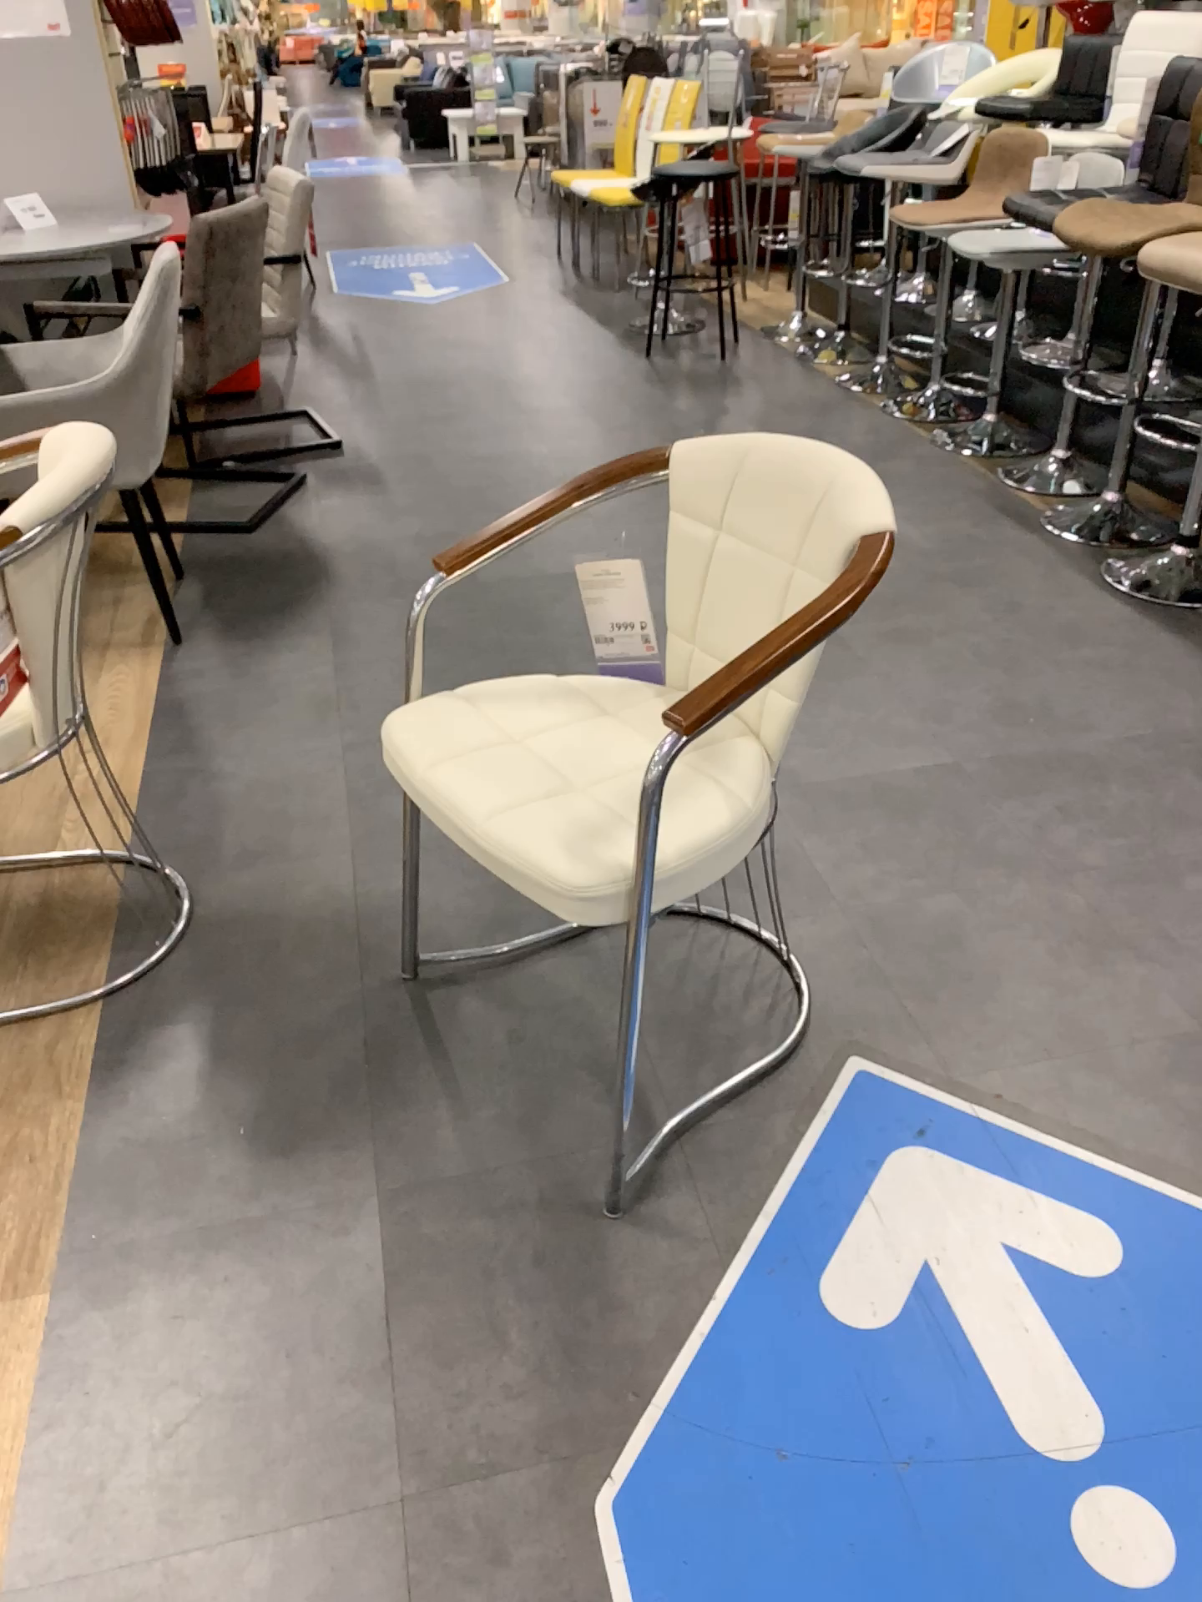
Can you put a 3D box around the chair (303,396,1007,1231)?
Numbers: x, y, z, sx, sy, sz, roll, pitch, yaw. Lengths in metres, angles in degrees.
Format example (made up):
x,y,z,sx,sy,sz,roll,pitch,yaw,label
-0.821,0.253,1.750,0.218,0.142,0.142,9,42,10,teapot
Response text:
x,y,z,sx,sy,sz,roll,pitch,yaw,label
0.056,-0.031,1.691,0.601,0.815,0.602,-21,37,-29,chair
